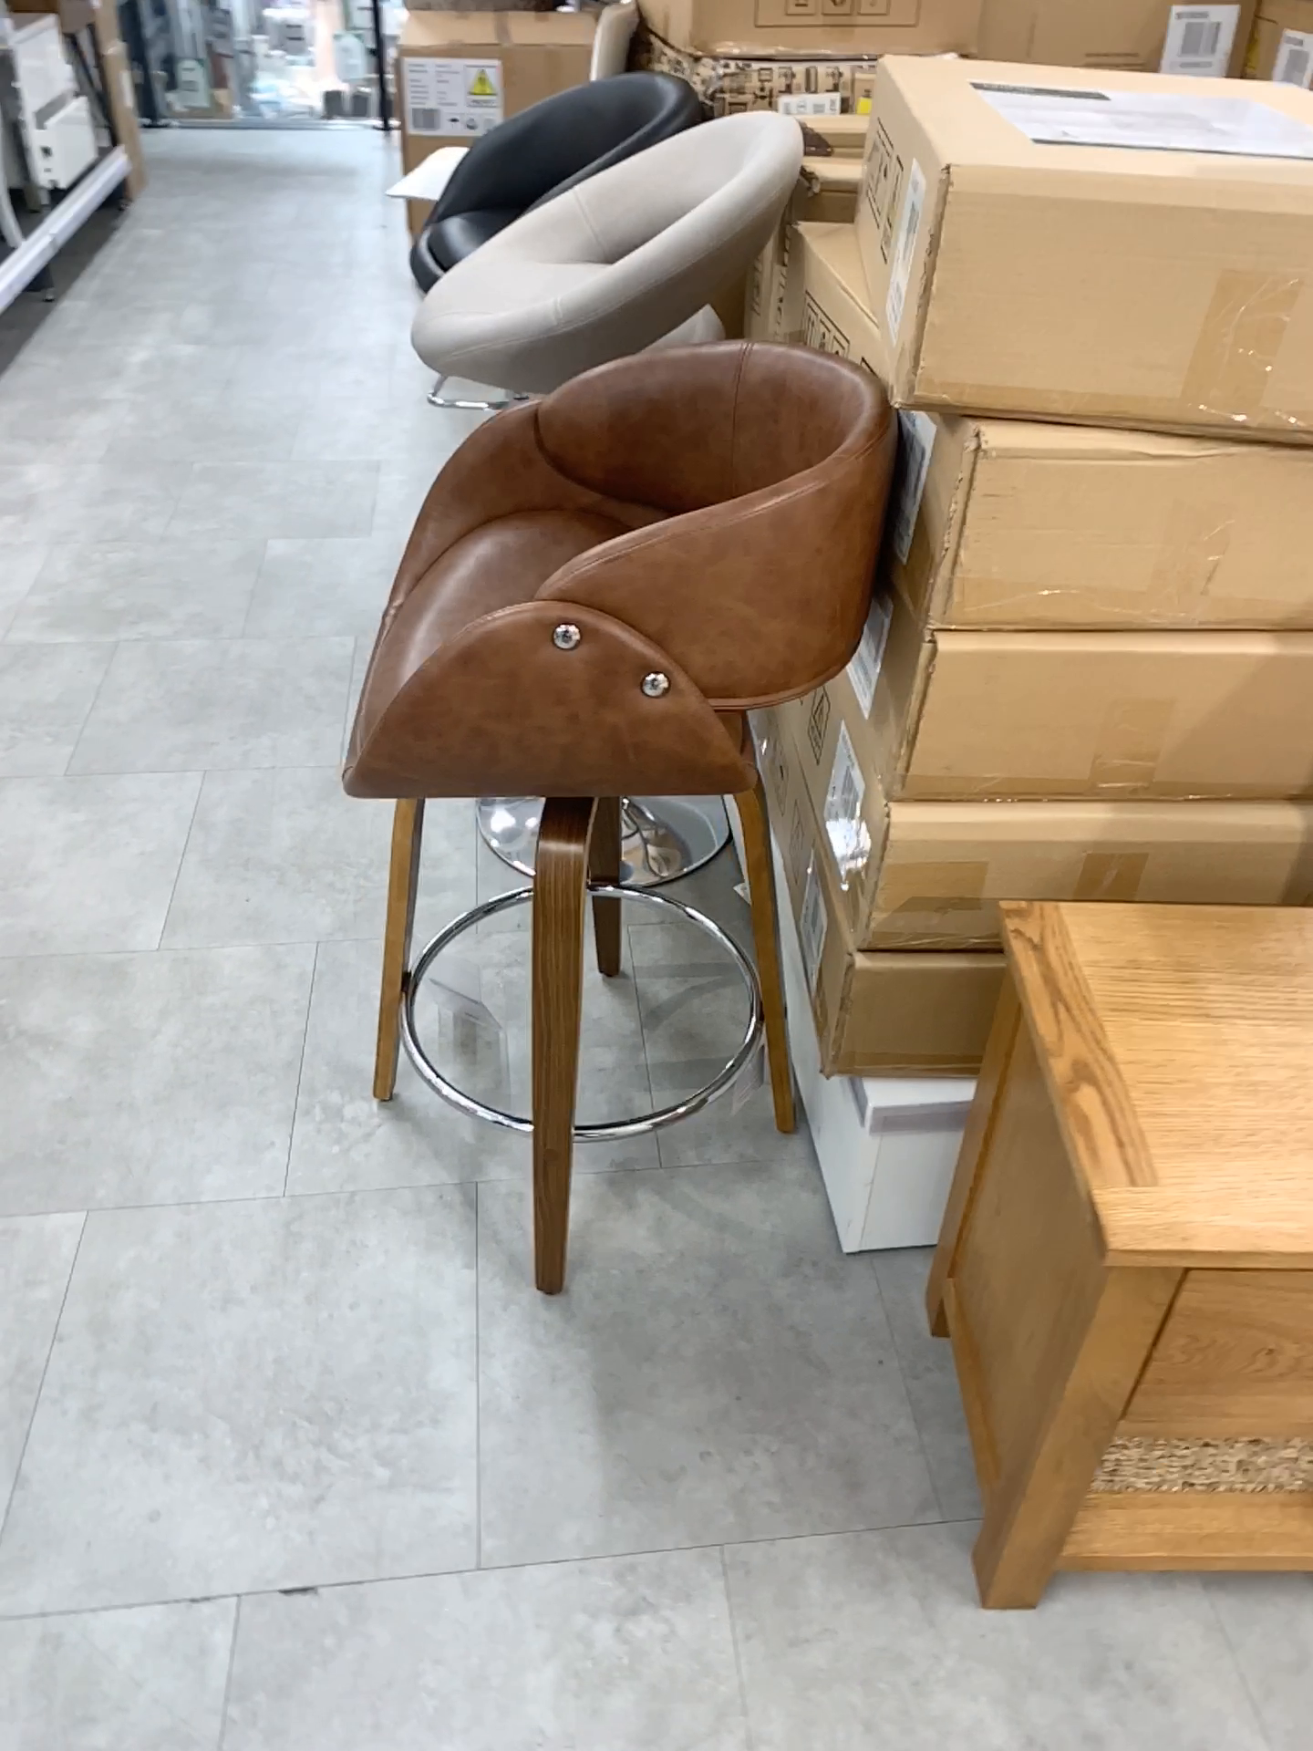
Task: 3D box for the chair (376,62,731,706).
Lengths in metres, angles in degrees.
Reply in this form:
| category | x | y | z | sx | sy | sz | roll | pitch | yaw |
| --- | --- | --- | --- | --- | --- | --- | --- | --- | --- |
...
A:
| category | x | y | z | sx | sy | sz | roll | pitch | yaw |
| --- | --- | --- | --- | --- | --- | --- | --- | --- | --- |
| chair | -0.175 | -0.806 | 2.241 | 0.470 | 0.886 | 0.498 | -3 | 38 | -7 |

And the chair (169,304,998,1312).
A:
| category | x | y | z | sx | sy | sz | roll | pitch | yaw |
| --- | --- | --- | --- | --- | --- | --- | --- | --- | --- |
| chair | -0.074 | -0.058 | 1.365 | 0.550 | 0.846 | 0.549 | -1 | 38 | -4 |

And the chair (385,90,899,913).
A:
| category | x | y | z | sx | sy | sz | roll | pitch | yaw |
| --- | --- | --- | --- | --- | --- | --- | --- | --- | --- |
| chair | -0.052 | -0.487 | 1.831 | 0.520 | 0.945 | 0.498 | -3 | 38 | -7 |
